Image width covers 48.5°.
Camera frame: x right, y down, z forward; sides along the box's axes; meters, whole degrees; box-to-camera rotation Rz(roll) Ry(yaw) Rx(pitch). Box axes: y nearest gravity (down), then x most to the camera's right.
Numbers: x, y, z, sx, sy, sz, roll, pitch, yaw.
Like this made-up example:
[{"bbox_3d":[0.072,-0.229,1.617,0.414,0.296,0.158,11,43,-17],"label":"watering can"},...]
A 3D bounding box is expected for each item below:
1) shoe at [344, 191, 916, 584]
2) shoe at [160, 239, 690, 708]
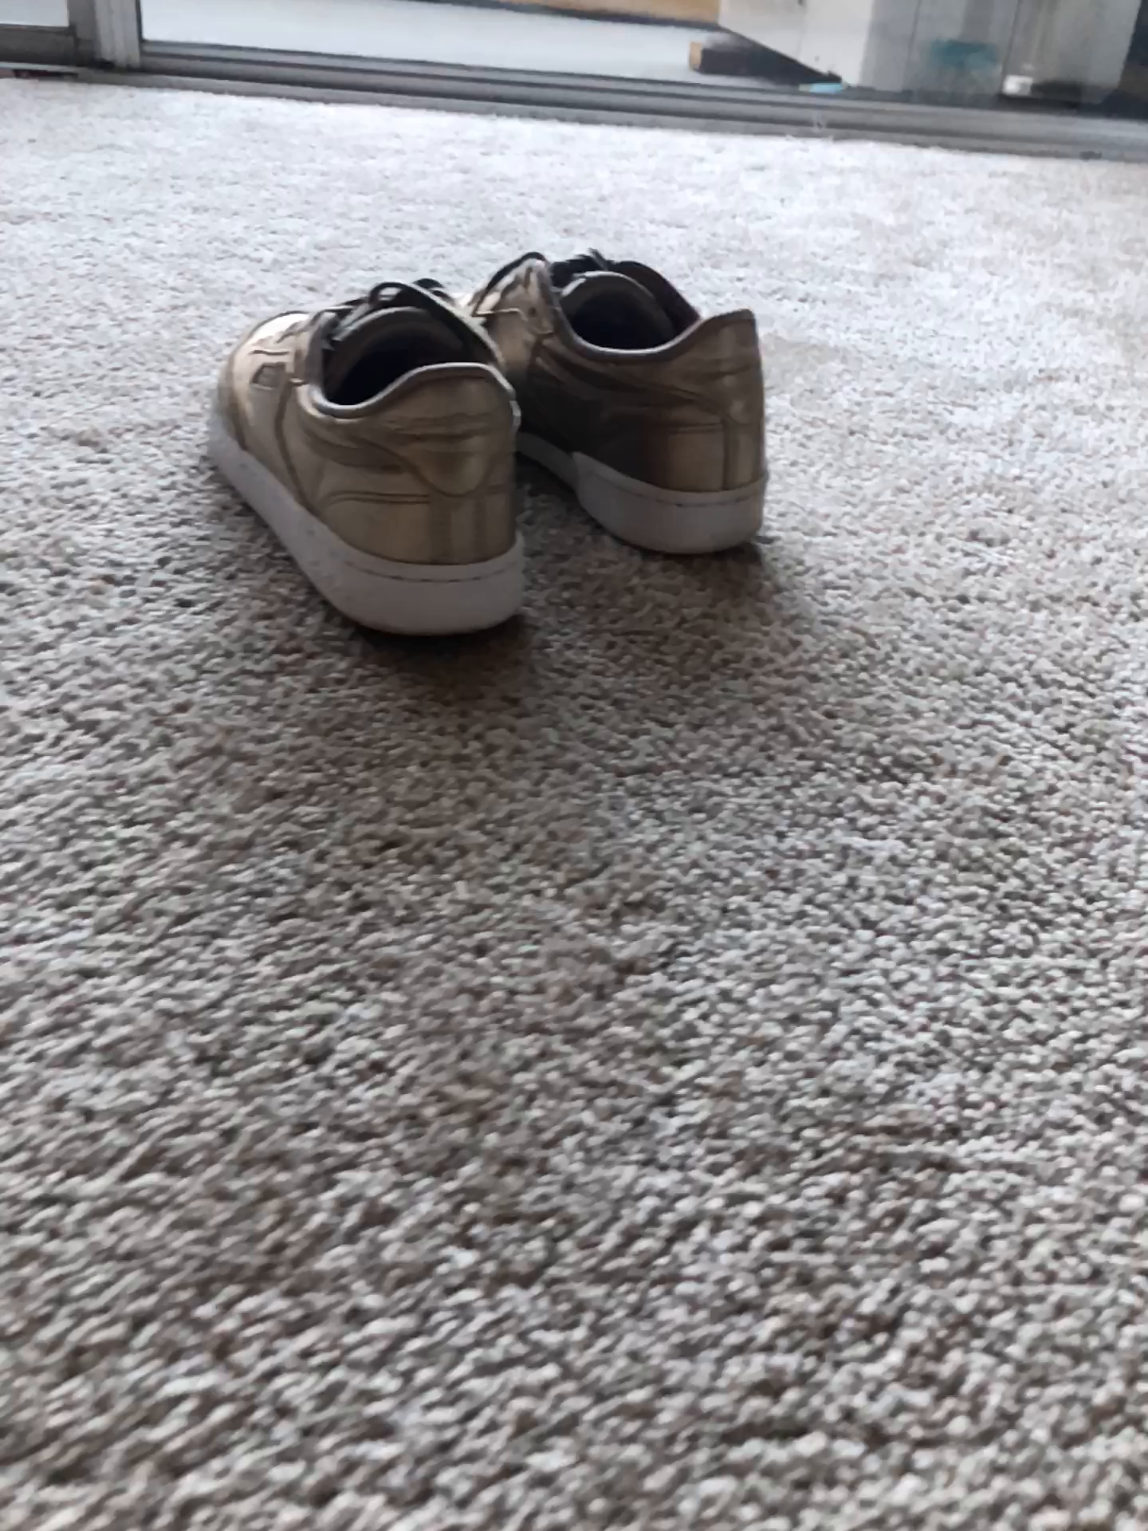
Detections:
[{"bbox_3d":[0.005,-0.182,0.562,0.110,0.070,0.281,-15,41,-28],"label":"shoe"},{"bbox_3d":[-0.076,-0.135,0.506,0.110,0.070,0.281,-11,39,-24],"label":"shoe"}]
